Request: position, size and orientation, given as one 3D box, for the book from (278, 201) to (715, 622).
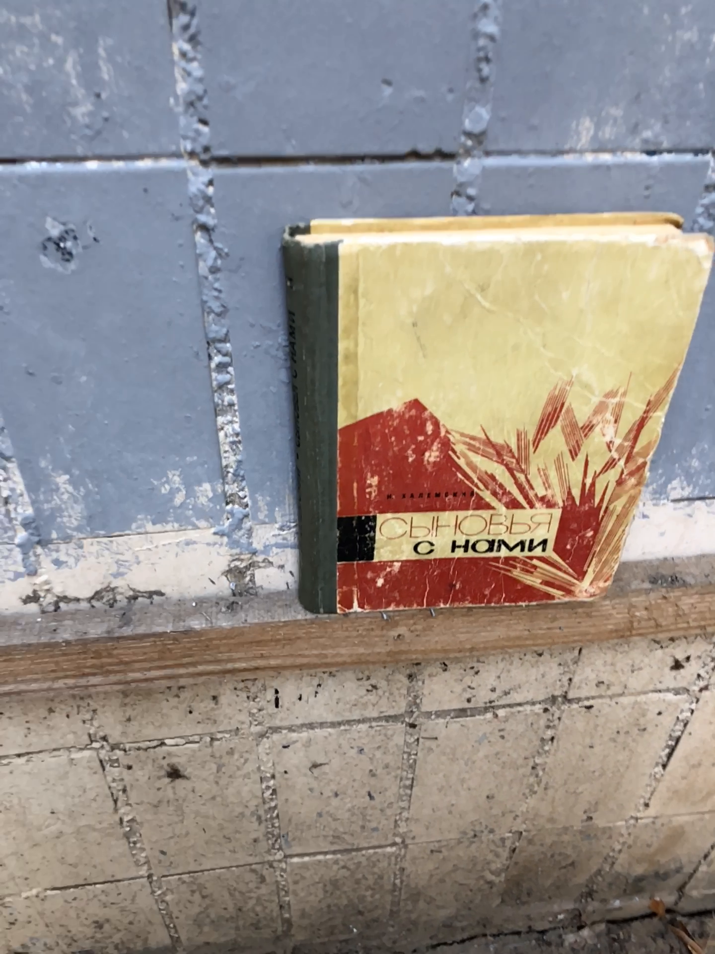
[{"bbox_3d":[0.044,-0.017,0.302,0.140,0.162,0.032,-3,36,-5],"label":"book"}]
